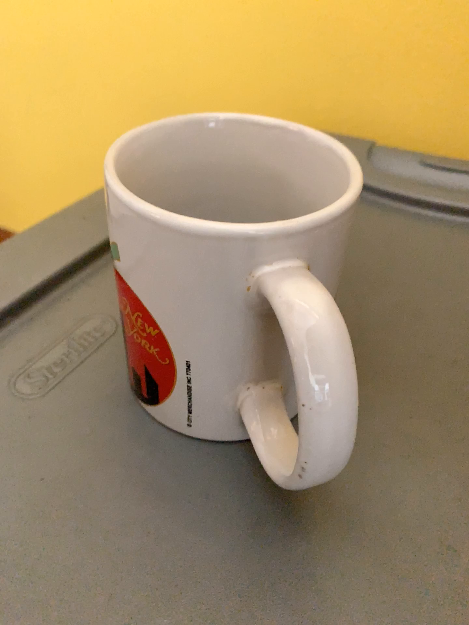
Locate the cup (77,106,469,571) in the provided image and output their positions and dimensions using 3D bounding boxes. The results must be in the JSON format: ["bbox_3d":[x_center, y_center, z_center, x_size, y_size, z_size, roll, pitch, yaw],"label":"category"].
[{"bbox_3d":[0.006,-0.001,0.178,0.097,0.095,0.119,-10,43,-15],"label":"cup"}]
